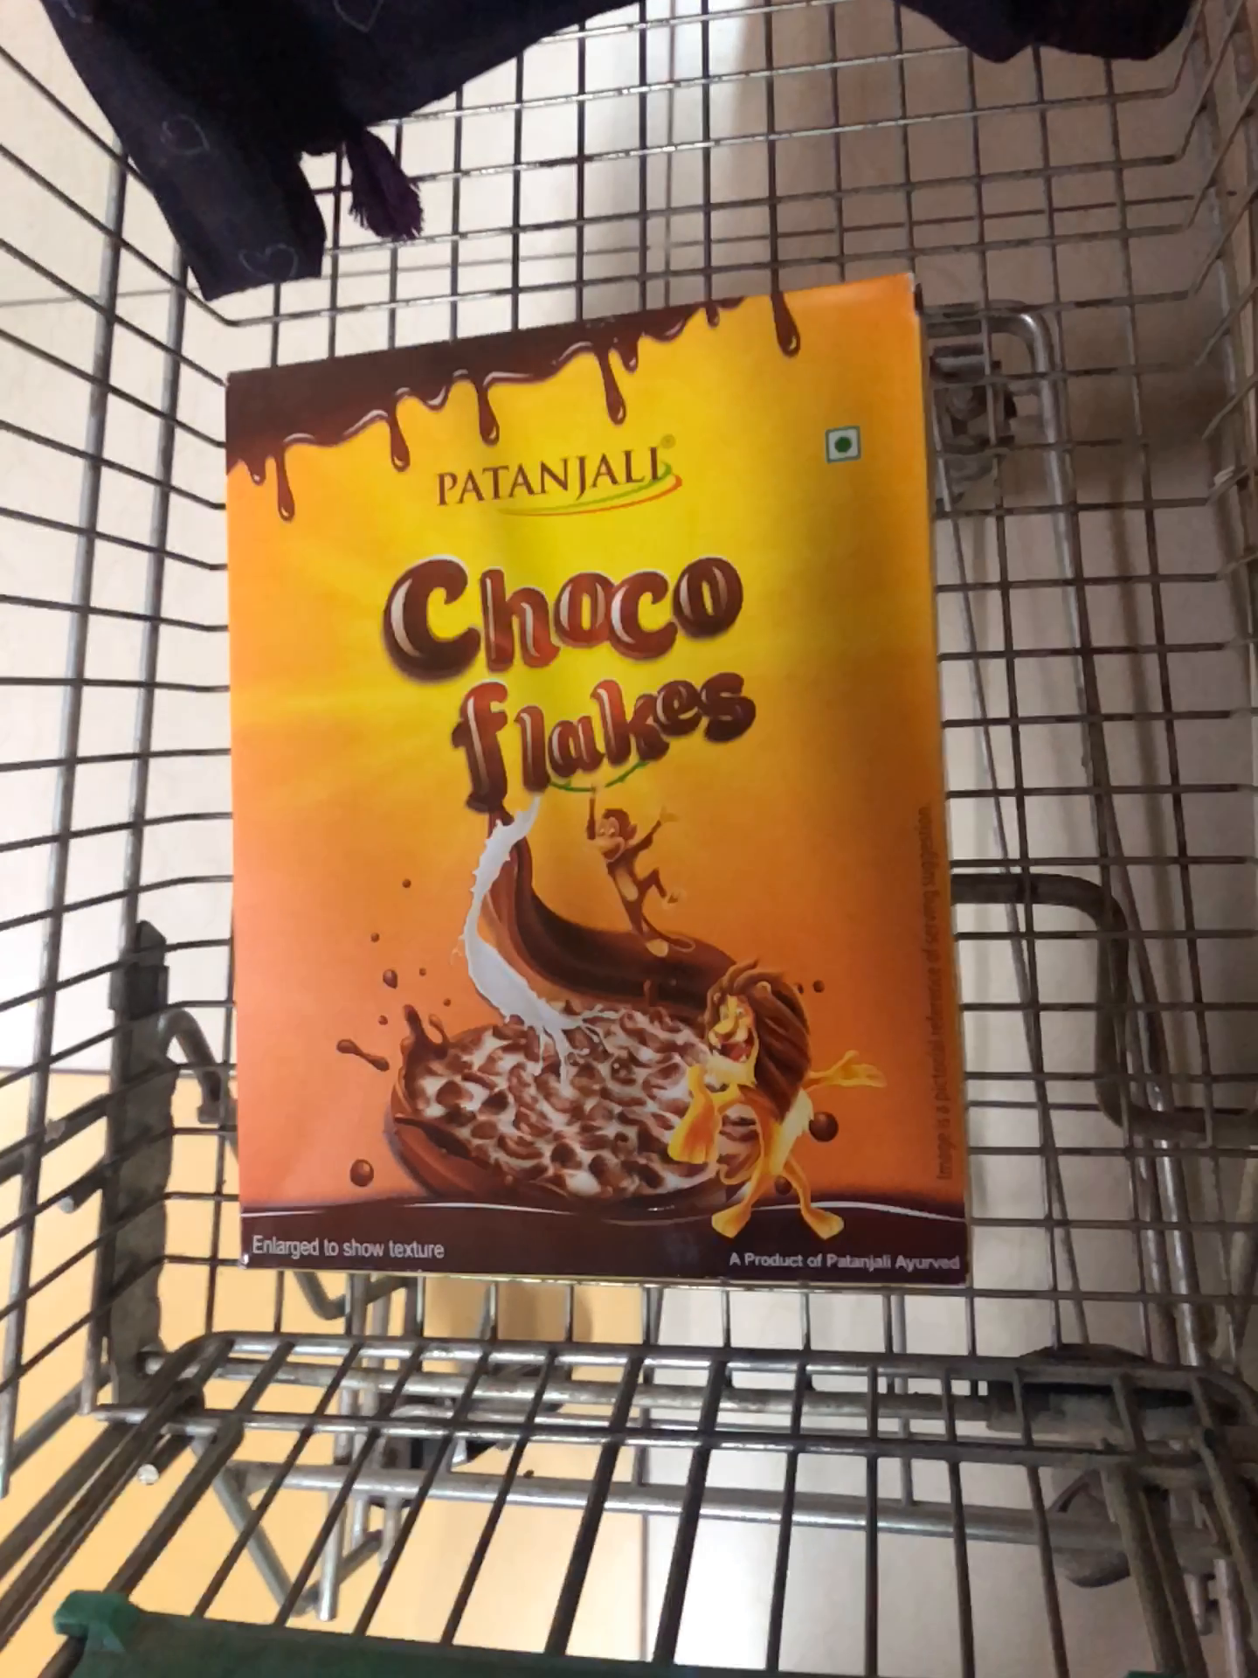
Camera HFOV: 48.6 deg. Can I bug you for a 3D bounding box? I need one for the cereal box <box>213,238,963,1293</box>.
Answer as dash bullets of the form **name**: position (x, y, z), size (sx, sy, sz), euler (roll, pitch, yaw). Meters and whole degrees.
- **cereal box**: position (-0.005, -0.011, 0.374), size (0.170, 0.110, 0.230), euler (-3, 86, 13)
